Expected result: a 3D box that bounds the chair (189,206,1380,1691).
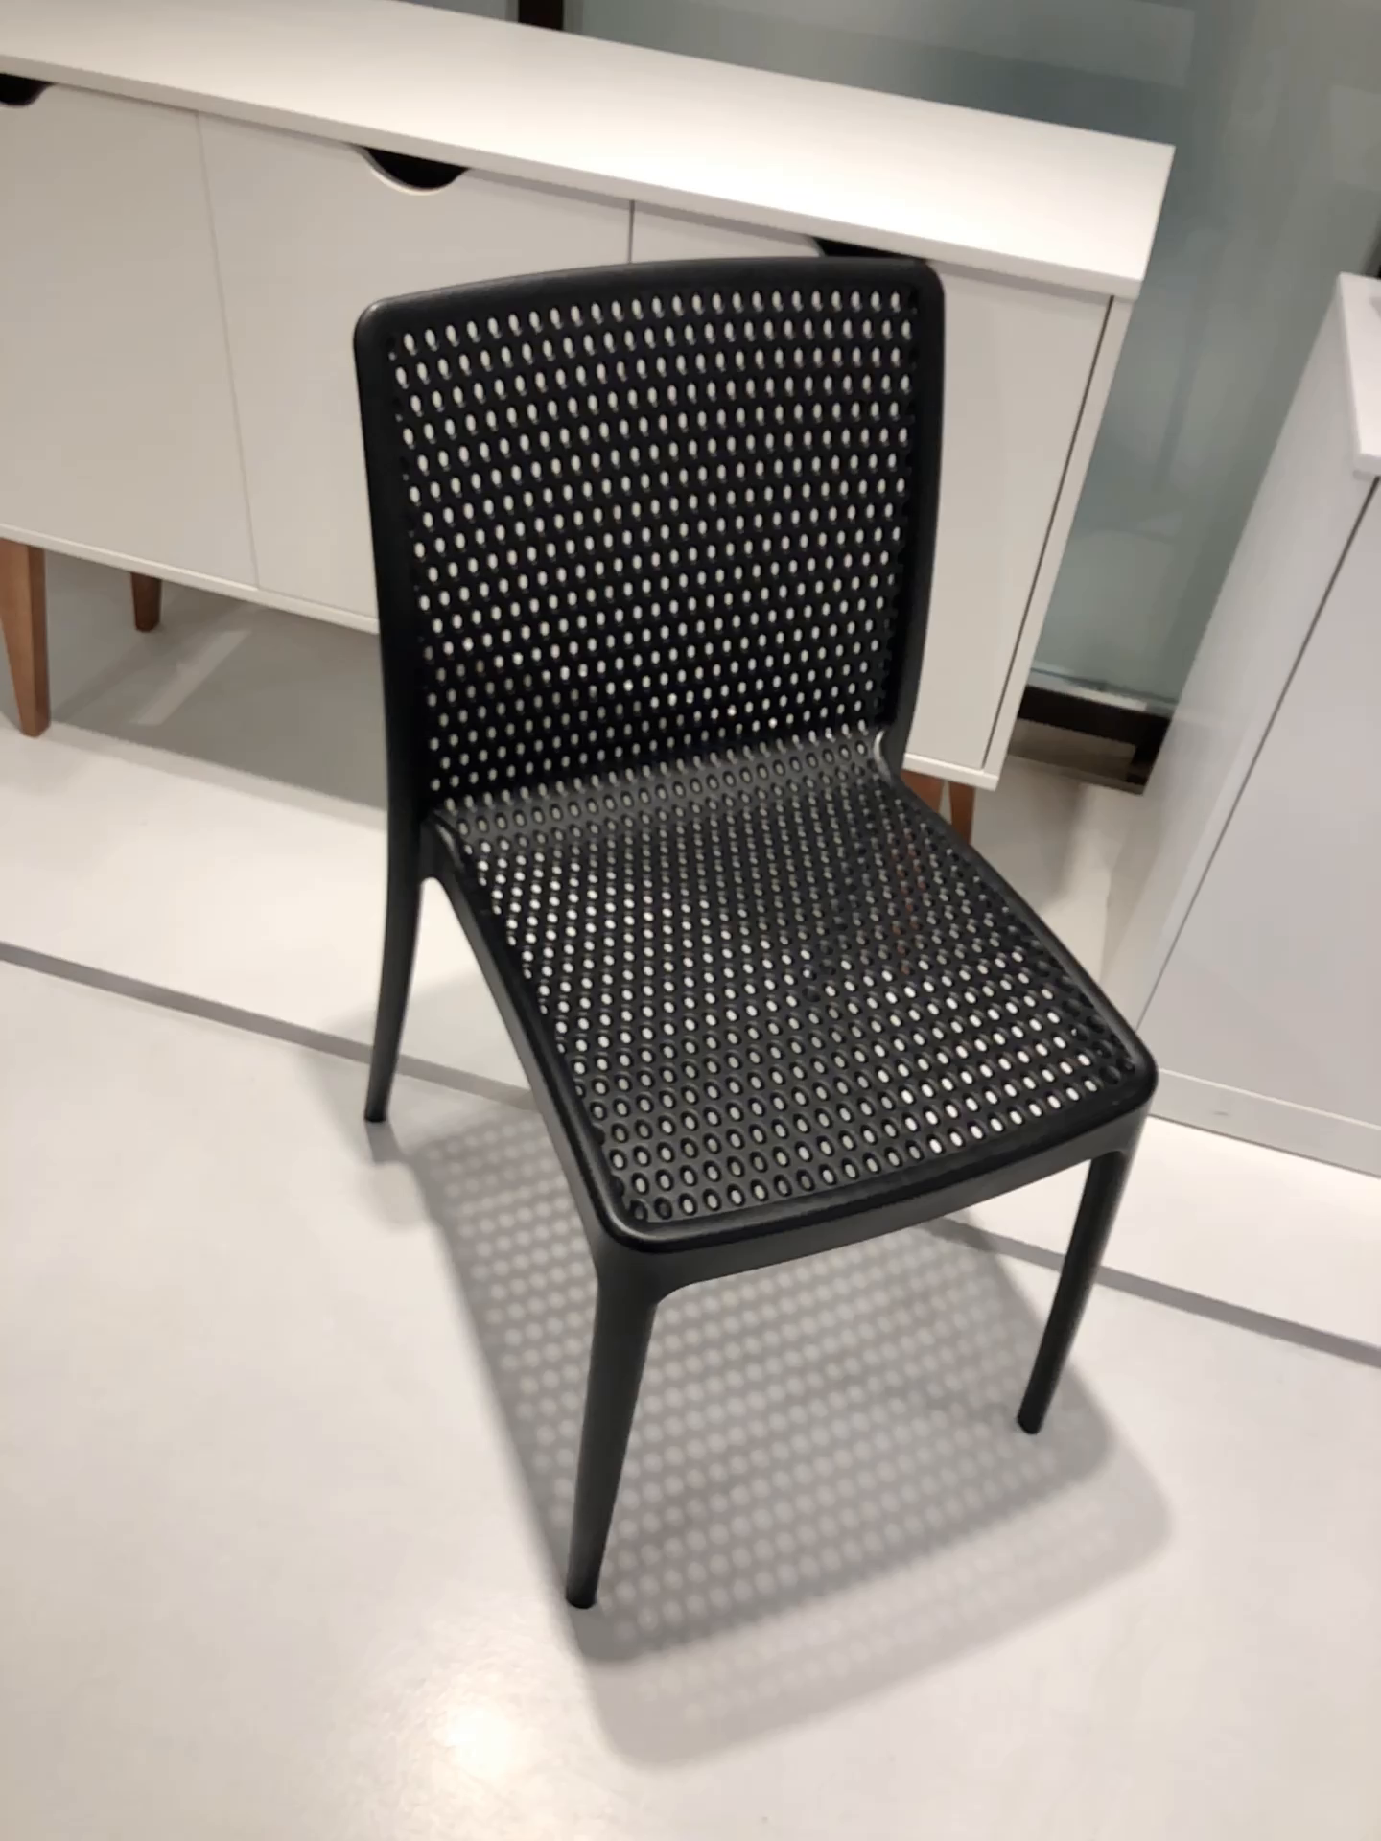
[{"bbox_3d":[0.006,0.027,1.170,0.531,0.864,0.603,-14,47,-21],"label":"chair"}]
